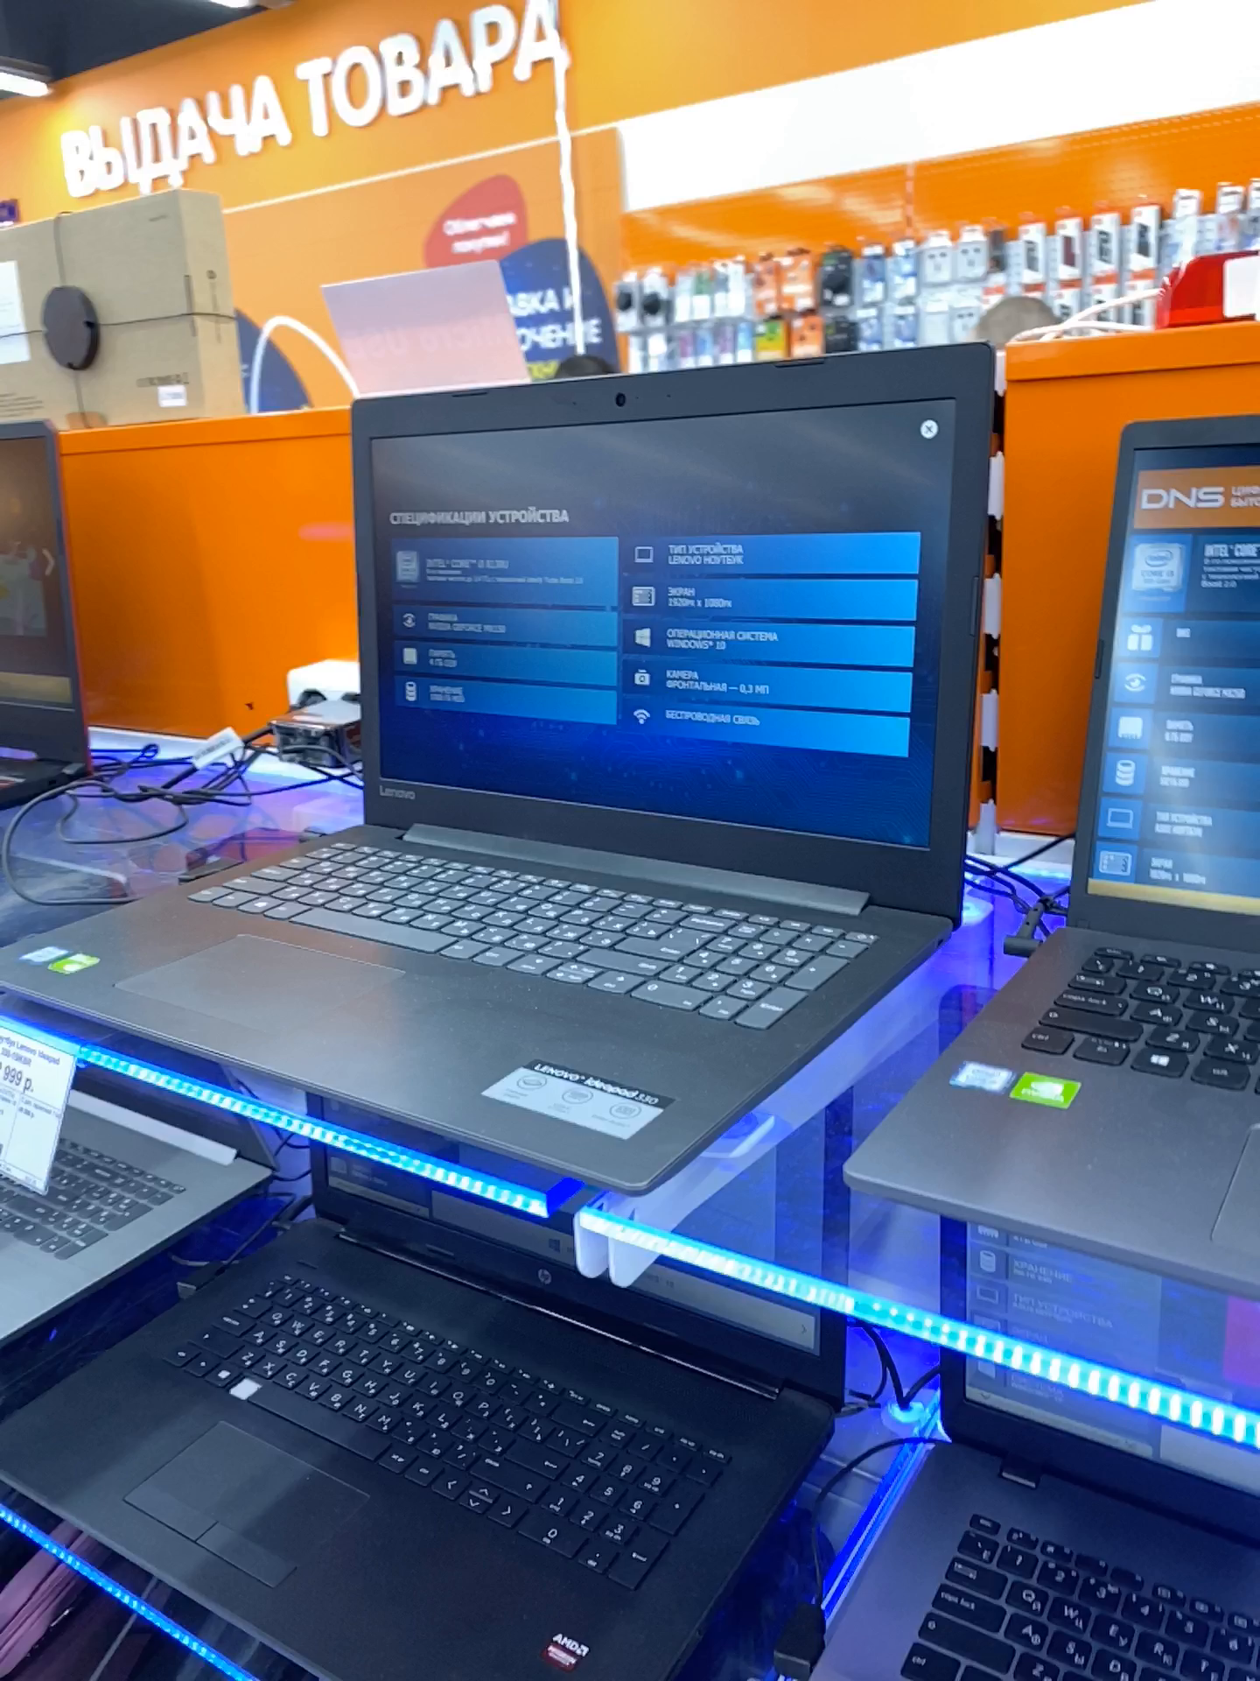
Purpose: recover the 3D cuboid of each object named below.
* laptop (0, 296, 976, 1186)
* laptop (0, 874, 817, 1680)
[{"bbox_3d":[-0.083,-0.076,0.568,0.378,0.245,0.290,8,19,33],"label":"laptop"},{"bbox_3d":[-0.138,0.201,0.689,0.401,0.263,0.271,7,16,30],"label":"laptop"}]
